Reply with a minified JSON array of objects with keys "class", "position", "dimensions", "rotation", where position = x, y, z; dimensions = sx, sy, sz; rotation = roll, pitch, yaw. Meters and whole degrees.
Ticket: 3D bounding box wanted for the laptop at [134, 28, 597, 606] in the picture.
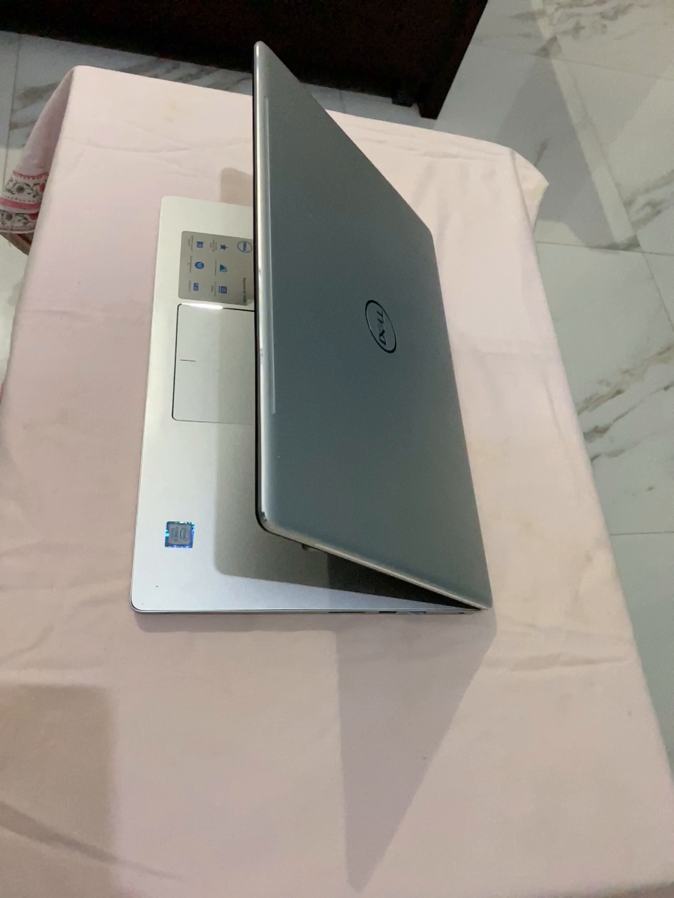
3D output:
[{"class":"laptop","position":[-0.007,-0.083,0.473],"dimensions":[0.234,0.149,0.348],"rotation":[3,63,-15]}]
